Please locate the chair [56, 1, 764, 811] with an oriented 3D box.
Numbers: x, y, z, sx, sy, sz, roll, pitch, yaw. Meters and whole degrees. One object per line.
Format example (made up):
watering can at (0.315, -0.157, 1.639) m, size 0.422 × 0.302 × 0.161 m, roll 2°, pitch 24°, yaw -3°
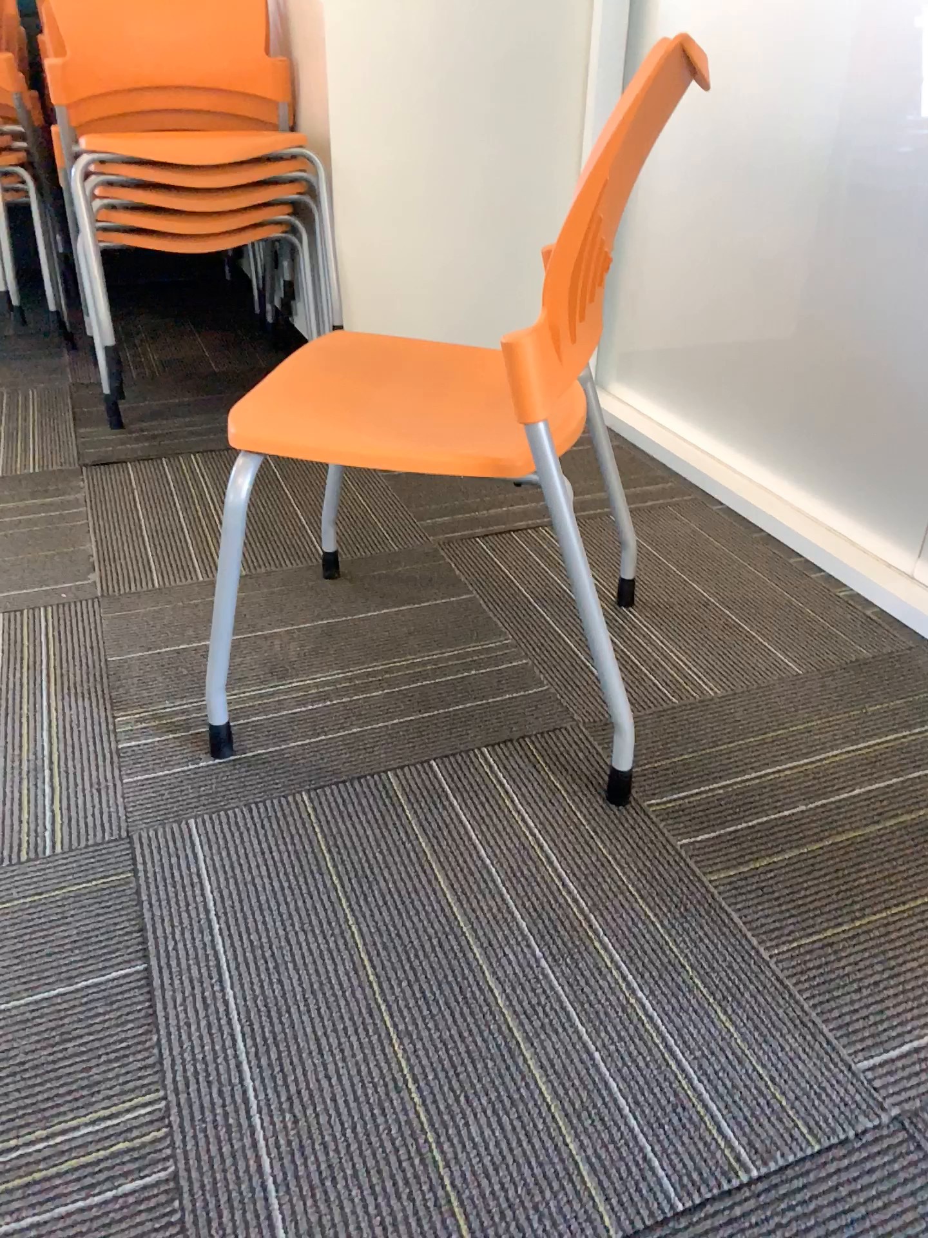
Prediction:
chair at (-0.010, -0.326, 1.269) m, size 0.580 × 0.805 × 0.714 m, roll 6°, pitch 31°, yaw 7°
